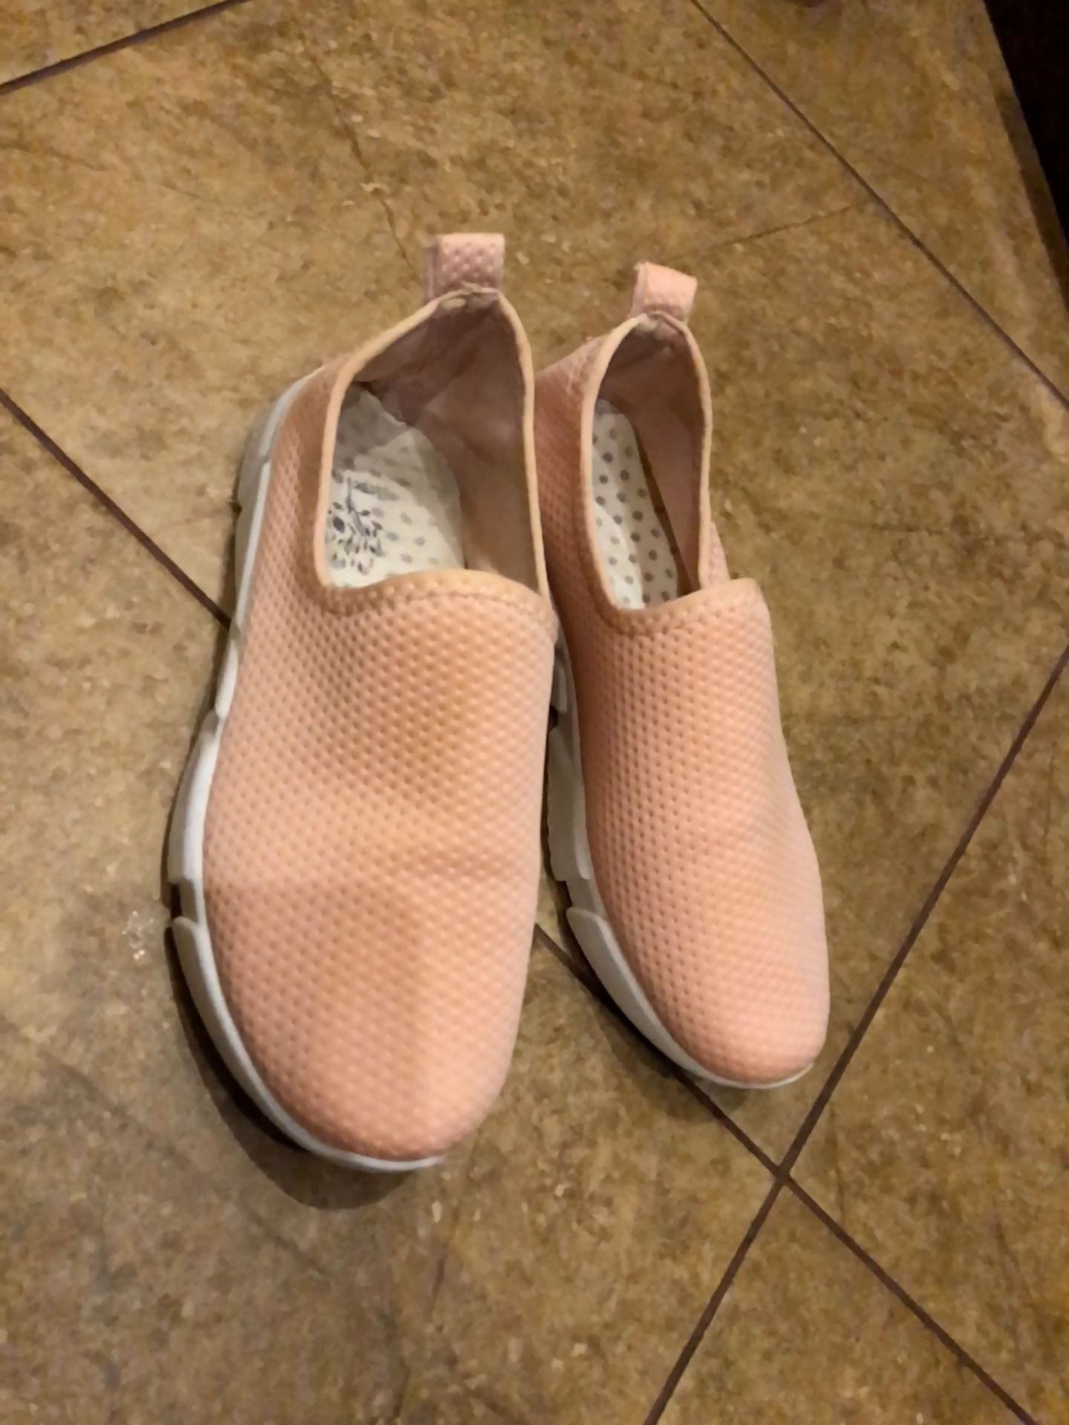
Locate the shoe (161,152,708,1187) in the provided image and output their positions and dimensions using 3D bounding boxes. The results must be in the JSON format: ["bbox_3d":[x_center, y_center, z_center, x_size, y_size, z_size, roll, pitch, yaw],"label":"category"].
[{"bbox_3d":[-0.037,-0.005,0.321,0.090,0.119,0.241,8,65,-25],"label":"shoe"}]

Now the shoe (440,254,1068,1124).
[{"bbox_3d":[0.054,-0.007,0.361,0.090,0.100,0.230,-4,70,-29],"label":"shoe"}]
